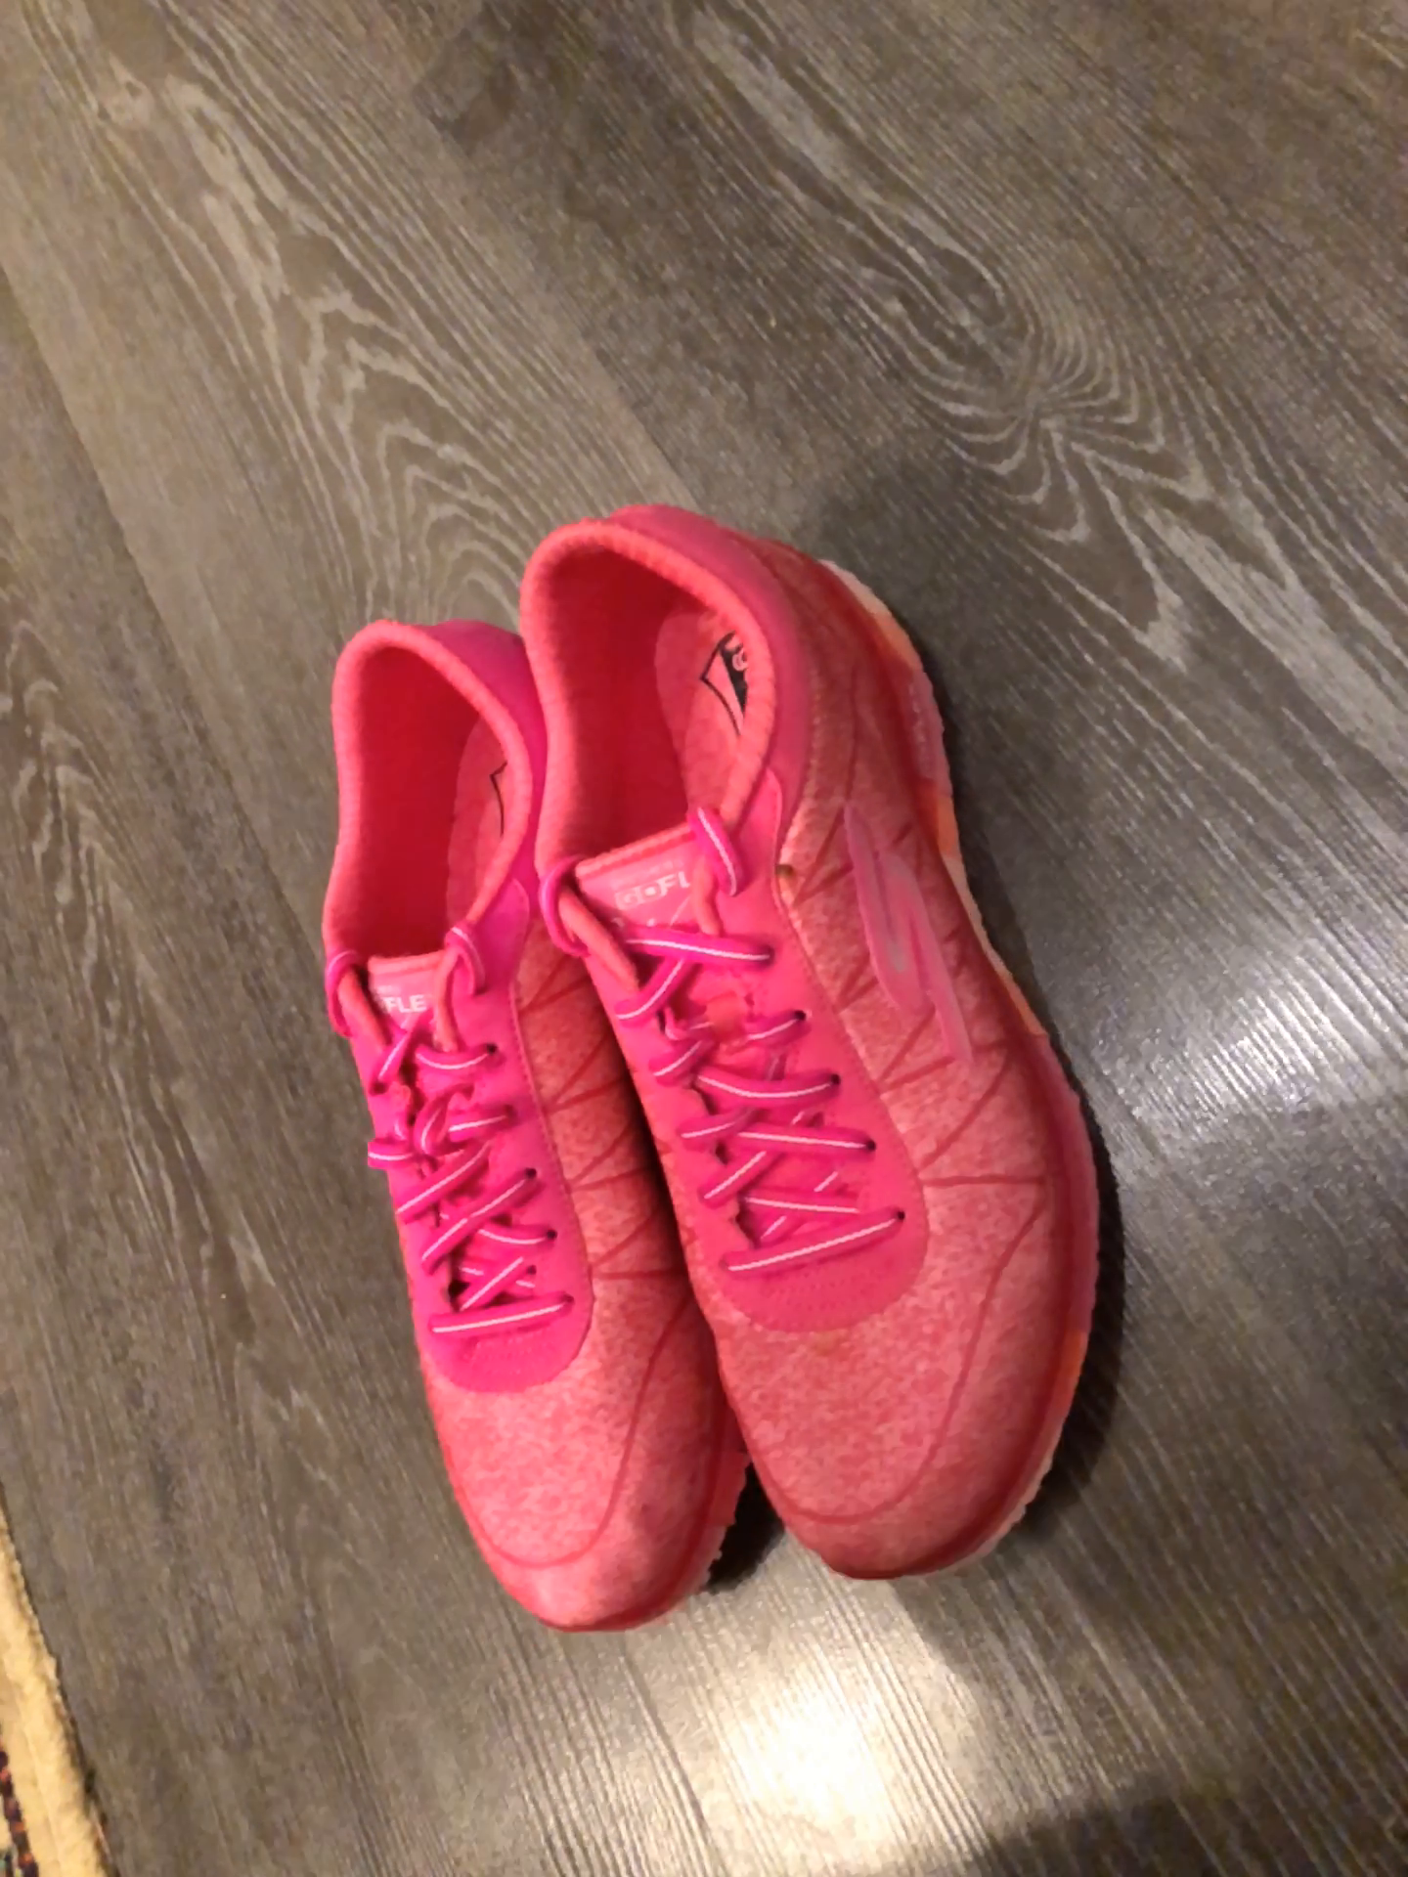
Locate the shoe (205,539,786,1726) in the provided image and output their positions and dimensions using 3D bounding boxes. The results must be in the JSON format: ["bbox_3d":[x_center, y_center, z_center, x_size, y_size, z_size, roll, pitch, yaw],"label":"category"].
[{"bbox_3d":[-0.058,0.047,0.401,0.100,0.090,0.260,-14,73,29],"label":"shoe"}]

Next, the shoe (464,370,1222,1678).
[{"bbox_3d":[0.027,0.019,0.365,0.100,0.090,0.260,-19,71,27],"label":"shoe"}]
